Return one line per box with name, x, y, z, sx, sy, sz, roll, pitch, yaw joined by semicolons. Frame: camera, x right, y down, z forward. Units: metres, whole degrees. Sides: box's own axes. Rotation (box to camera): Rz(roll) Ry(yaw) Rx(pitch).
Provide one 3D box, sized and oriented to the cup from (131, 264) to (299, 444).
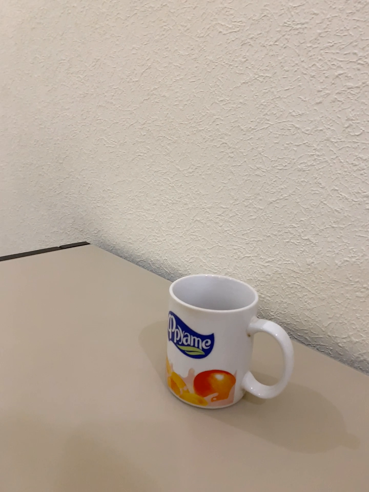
cup;0.024;0.084;0.334;0.117;0.092;0.081;15;20;31
